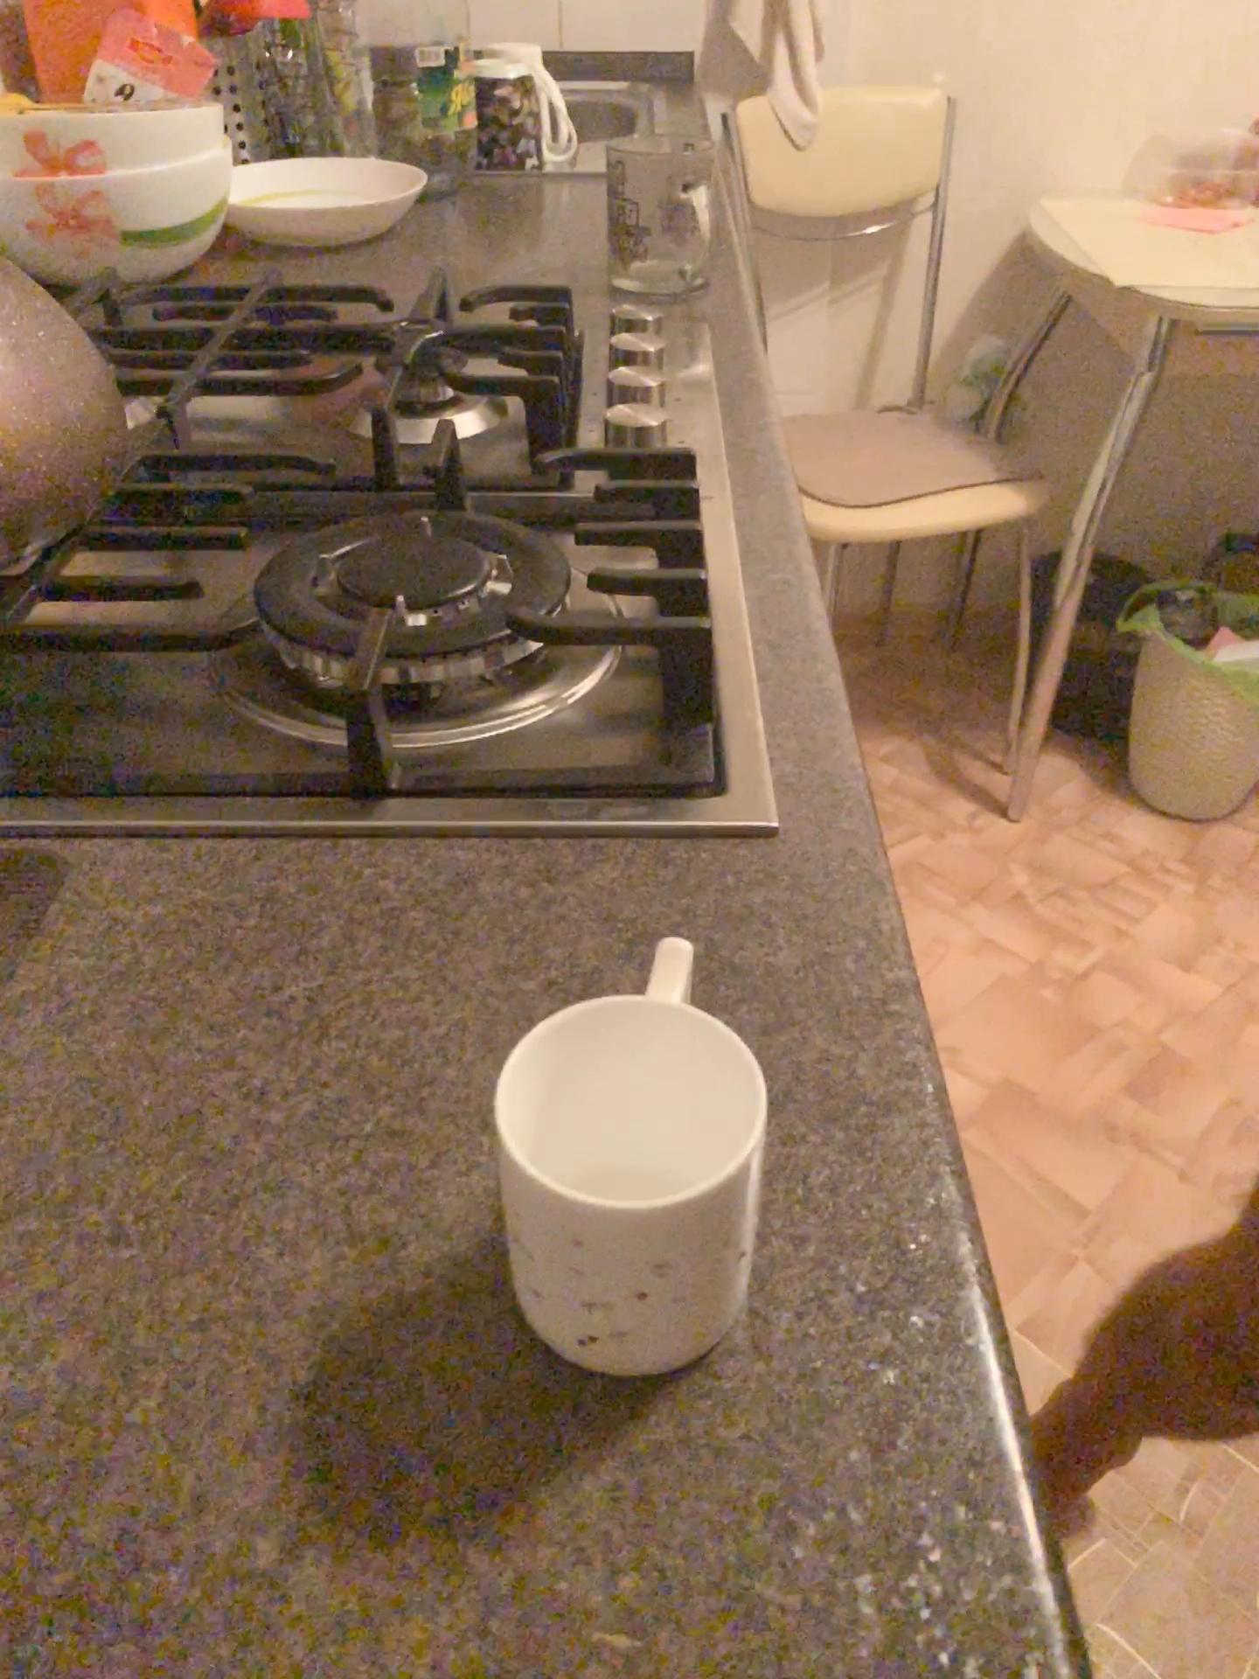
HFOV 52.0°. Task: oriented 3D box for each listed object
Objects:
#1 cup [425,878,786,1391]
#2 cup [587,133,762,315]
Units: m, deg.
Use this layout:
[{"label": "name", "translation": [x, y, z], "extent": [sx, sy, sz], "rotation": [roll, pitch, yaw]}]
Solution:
[{"label": "cup", "translation": [-0.003, 0.061, 0.283], "extent": [0.064, 0.061, 0.090], "rotation": [1, 37, 1]}, {"label": "cup", "translation": [0.026, -0.390, 0.813], "extent": [0.064, 0.081, 0.100], "rotation": [-20, 41, -24]}]
